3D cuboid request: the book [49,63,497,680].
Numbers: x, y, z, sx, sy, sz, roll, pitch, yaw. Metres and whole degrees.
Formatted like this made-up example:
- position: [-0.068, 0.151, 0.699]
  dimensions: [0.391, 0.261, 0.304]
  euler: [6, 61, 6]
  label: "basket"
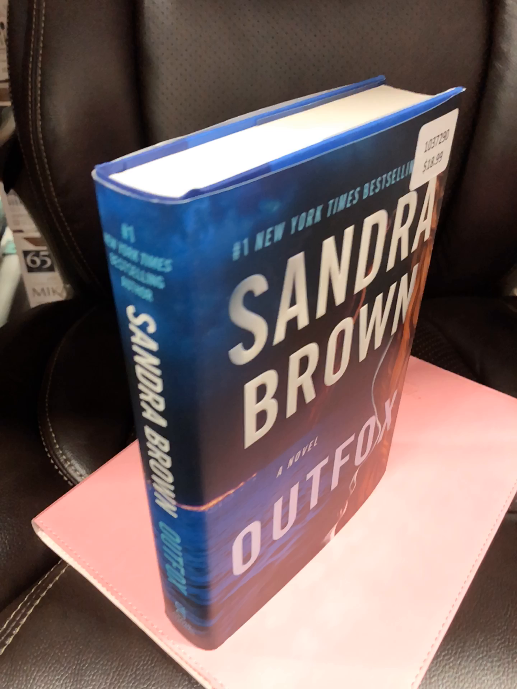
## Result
- position: [0.016, 0.016, 0.256]
  dimensions: [0.048, 0.227, 0.168]
  euler: [30, 45, 31]
  label: "book"
